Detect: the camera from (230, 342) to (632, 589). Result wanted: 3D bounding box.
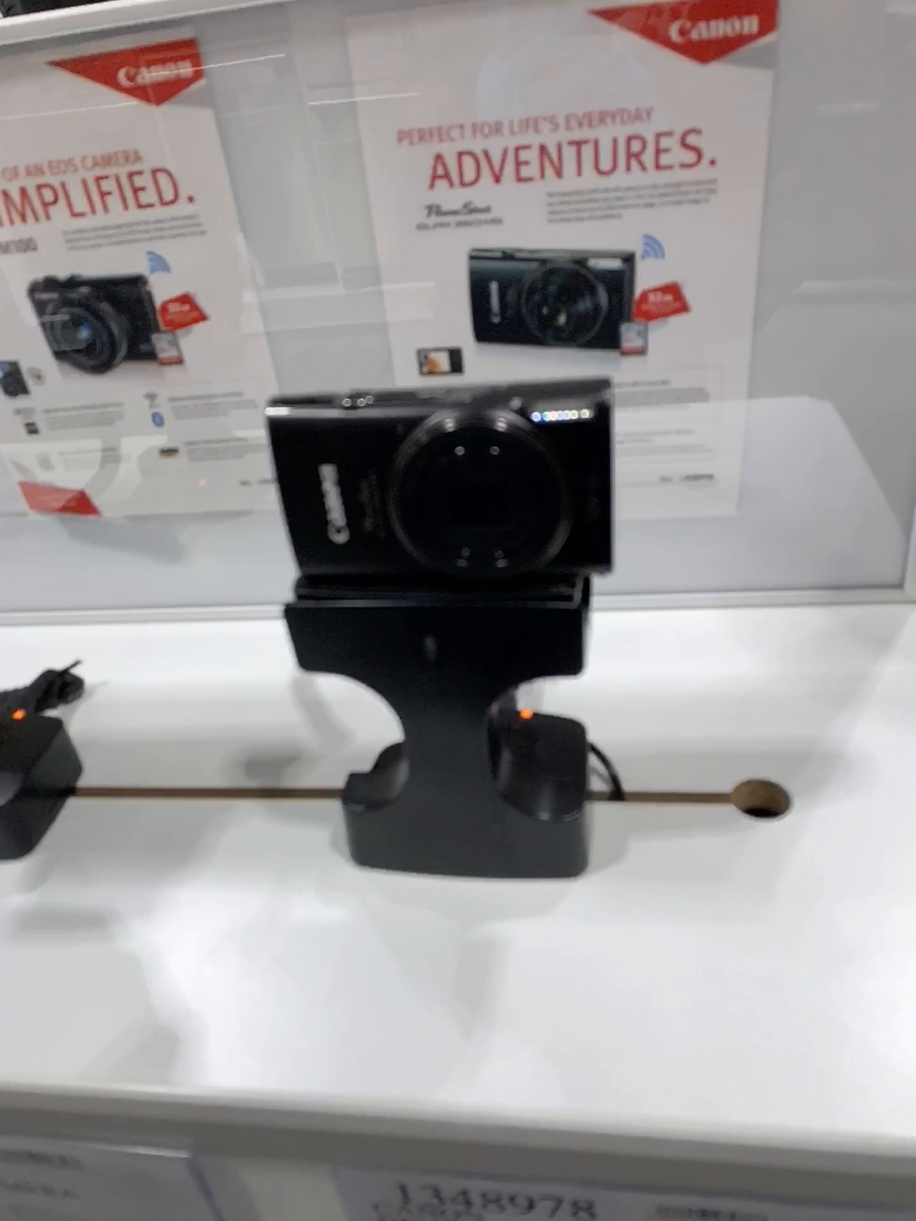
[{"bbox_3d":[-0.004,-0.043,0.284,0.110,0.060,0.040,0,32,13],"label":"camera"}]
